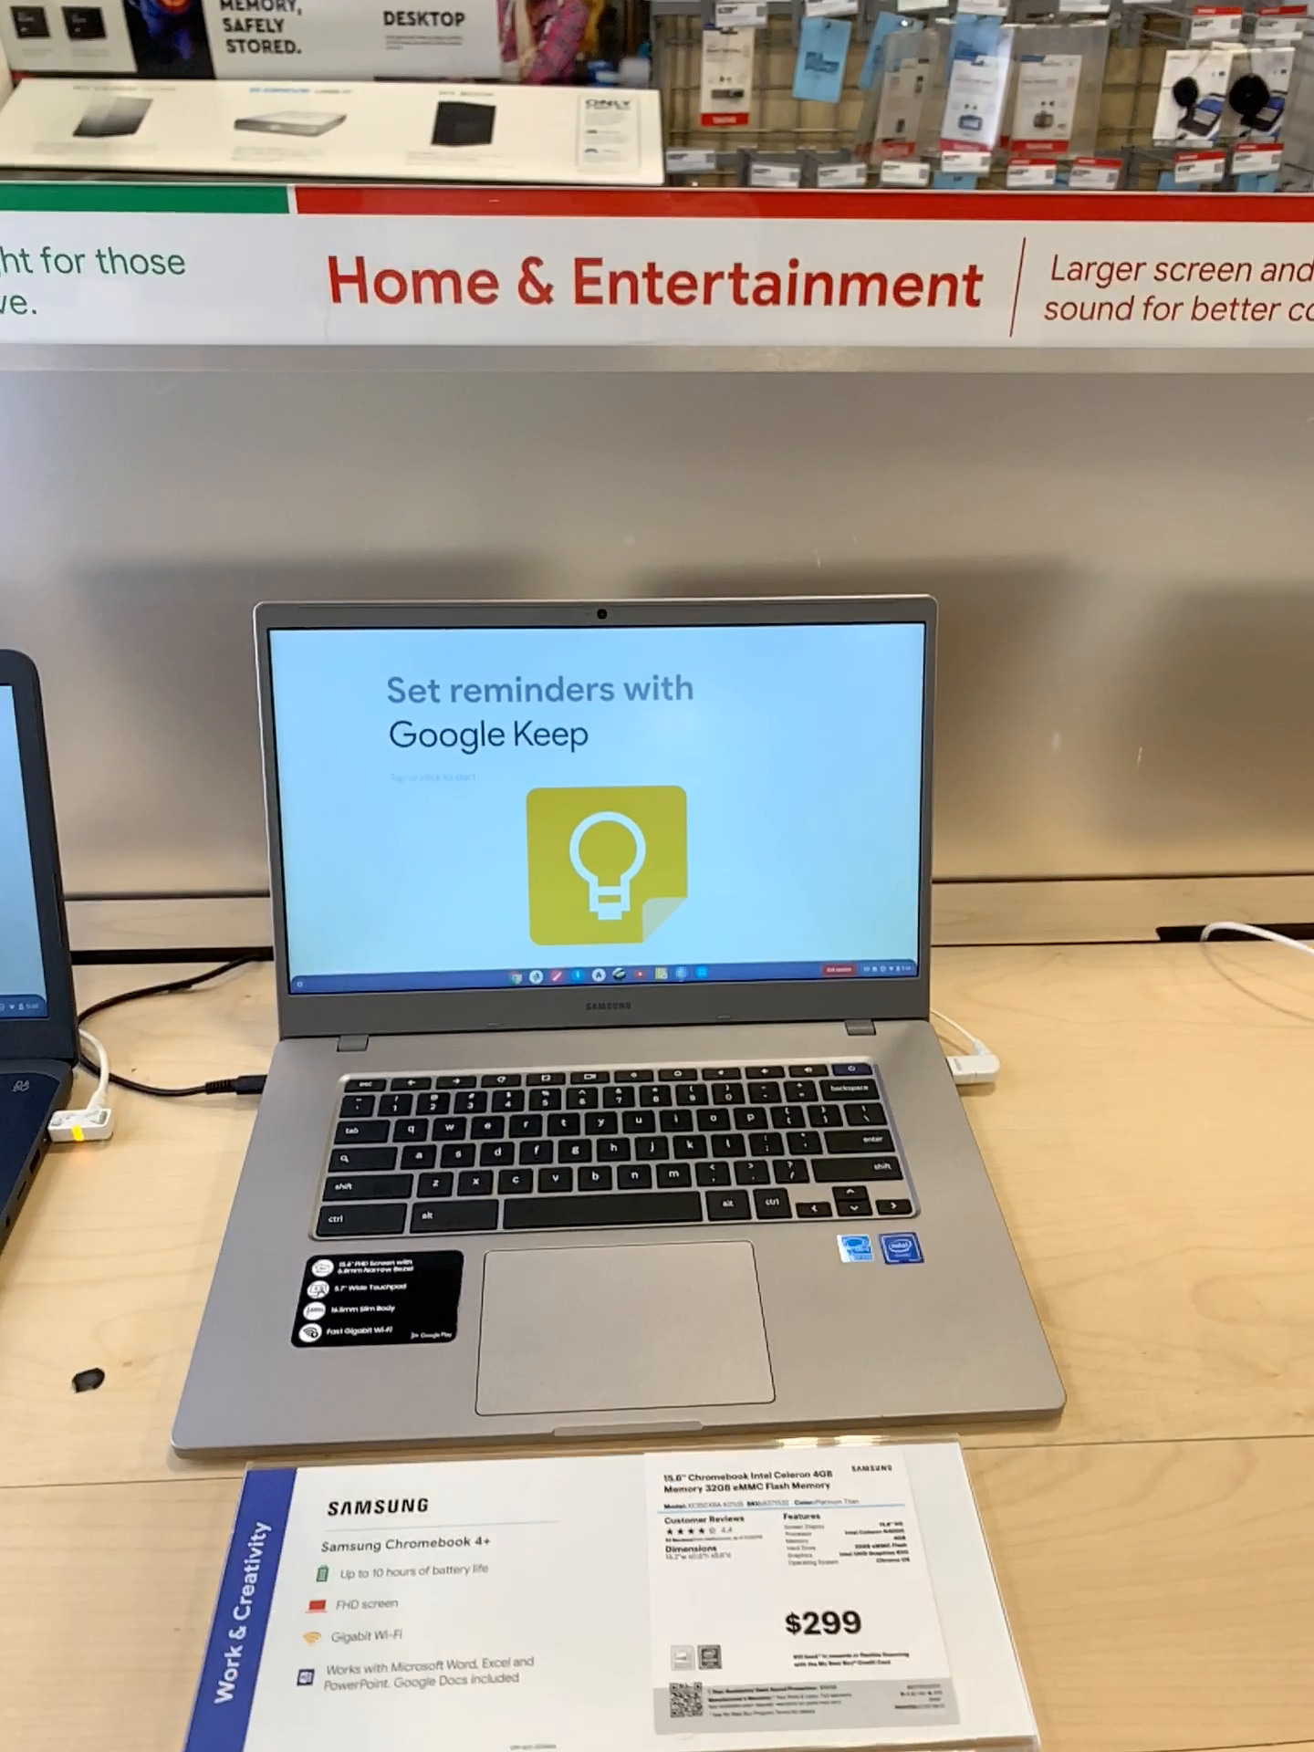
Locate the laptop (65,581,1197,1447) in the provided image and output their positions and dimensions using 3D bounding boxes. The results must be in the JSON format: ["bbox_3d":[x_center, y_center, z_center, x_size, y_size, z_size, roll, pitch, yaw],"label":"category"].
[{"bbox_3d":[-0.016,0.032,0.611,0.351,0.205,0.339,-1,34,-3],"label":"laptop"}]

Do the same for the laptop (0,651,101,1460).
[{"bbox_3d":[-0.459,0.053,0.580,0.320,0.193,0.295,-1,32,-5],"label":"laptop"}]
